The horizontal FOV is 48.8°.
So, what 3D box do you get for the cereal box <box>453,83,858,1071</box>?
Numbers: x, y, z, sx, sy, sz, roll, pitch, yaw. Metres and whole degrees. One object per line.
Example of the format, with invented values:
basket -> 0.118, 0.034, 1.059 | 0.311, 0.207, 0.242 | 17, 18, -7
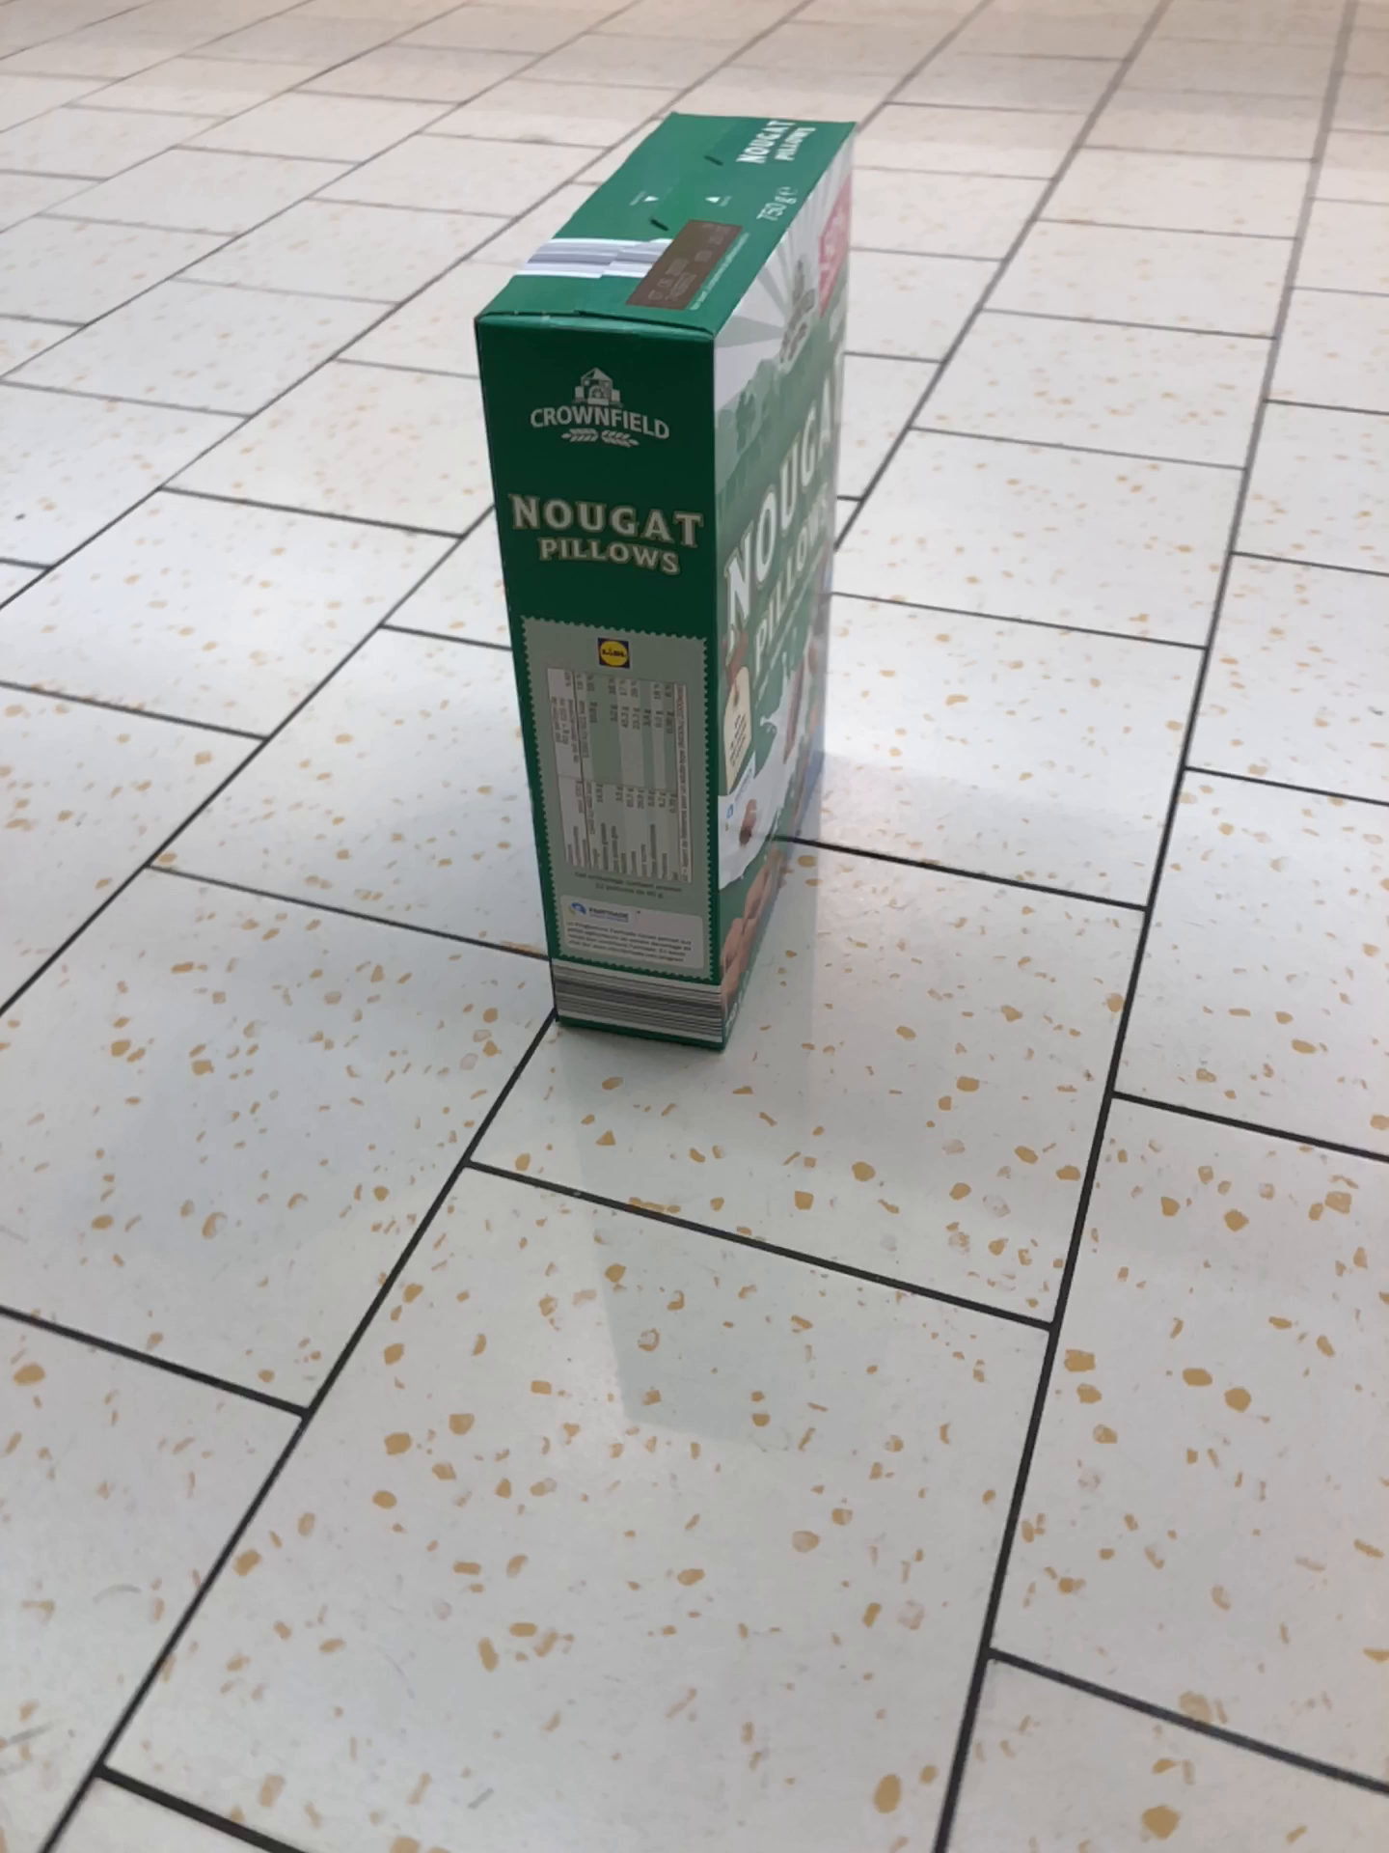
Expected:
cereal box -> 0.002, -0.120, 0.535 | 0.070, 0.268, 0.201 | 8, 42, 11
